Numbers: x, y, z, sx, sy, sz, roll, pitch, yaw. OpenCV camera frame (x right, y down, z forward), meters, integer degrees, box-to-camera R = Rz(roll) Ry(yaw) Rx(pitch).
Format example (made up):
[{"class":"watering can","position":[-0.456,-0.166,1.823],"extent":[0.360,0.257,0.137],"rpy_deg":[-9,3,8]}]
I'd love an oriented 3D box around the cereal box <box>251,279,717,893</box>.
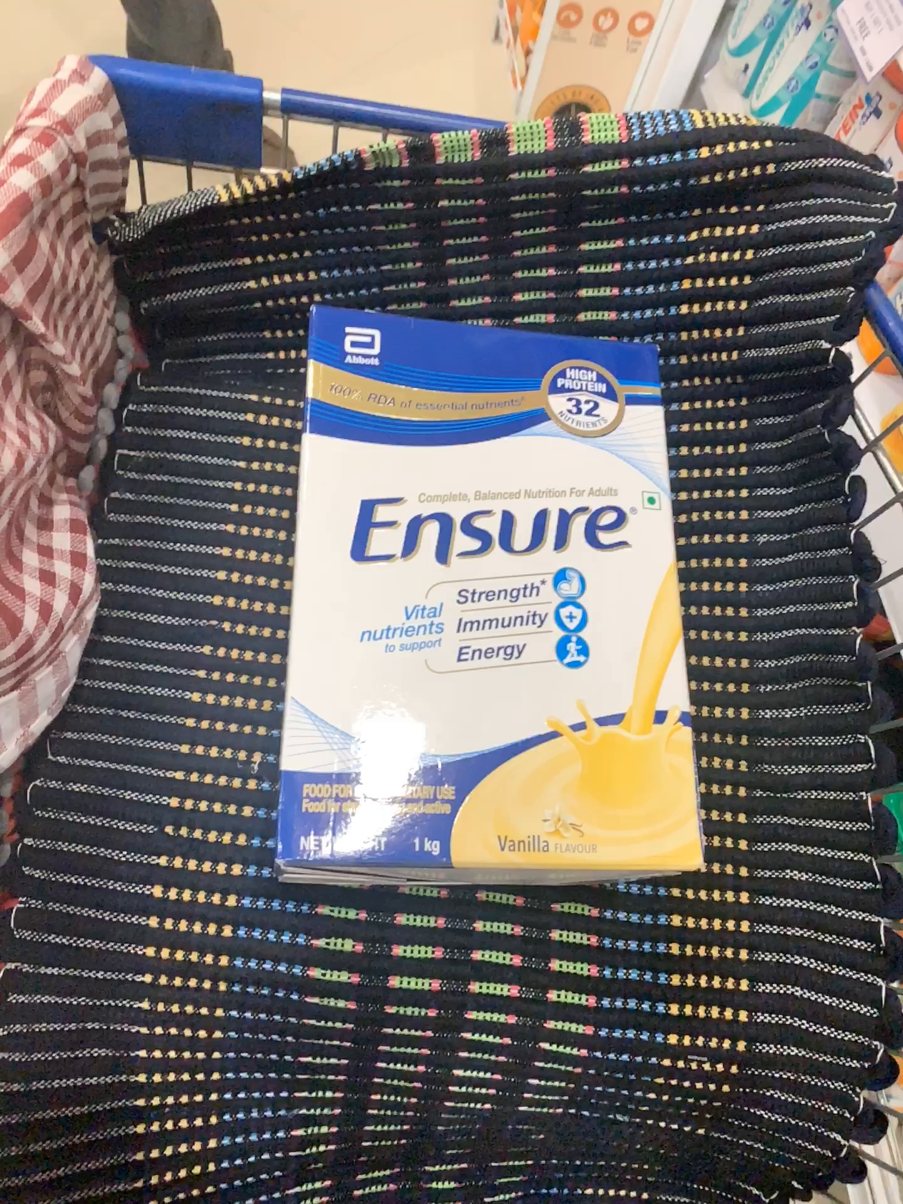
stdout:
[{"class":"cereal box","position":[0.005,-0.002,0.374],"extent":[0.150,0.090,0.220],"rpy_deg":[4,68,-10]}]
